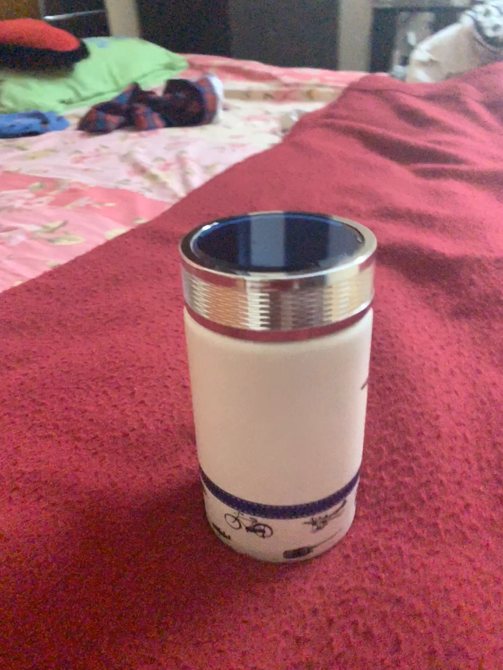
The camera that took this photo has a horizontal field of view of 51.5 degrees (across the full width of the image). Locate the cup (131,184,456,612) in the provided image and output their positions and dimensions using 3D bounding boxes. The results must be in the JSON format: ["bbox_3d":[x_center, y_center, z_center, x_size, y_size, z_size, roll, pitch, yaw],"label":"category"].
[{"bbox_3d":[0.007,0.017,0.244,0.090,0.139,0.121,-11,30,-17],"label":"cup"}]
